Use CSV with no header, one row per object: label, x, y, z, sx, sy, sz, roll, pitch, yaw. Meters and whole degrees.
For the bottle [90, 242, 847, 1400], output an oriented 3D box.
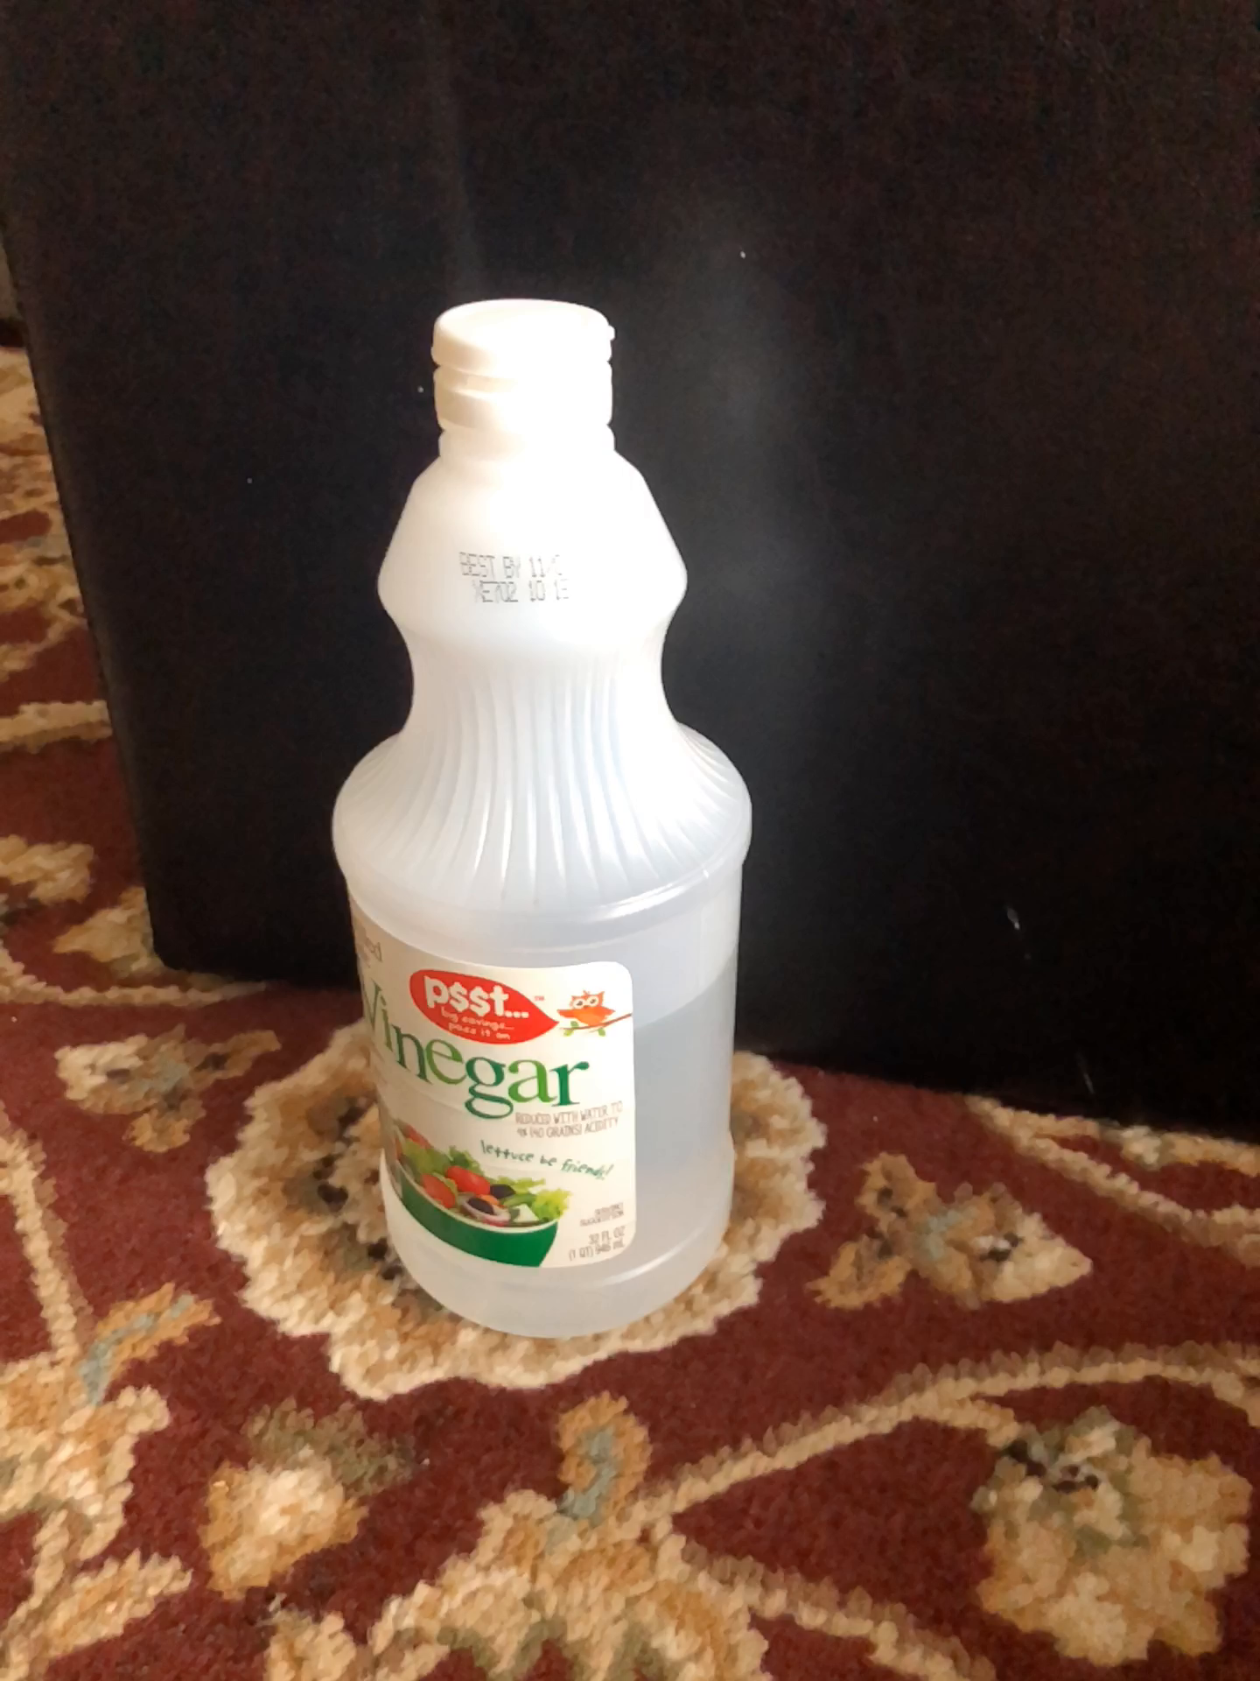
bottle,-0.023,-0.001,0.305,0.100,0.219,0.090,14,36,21
